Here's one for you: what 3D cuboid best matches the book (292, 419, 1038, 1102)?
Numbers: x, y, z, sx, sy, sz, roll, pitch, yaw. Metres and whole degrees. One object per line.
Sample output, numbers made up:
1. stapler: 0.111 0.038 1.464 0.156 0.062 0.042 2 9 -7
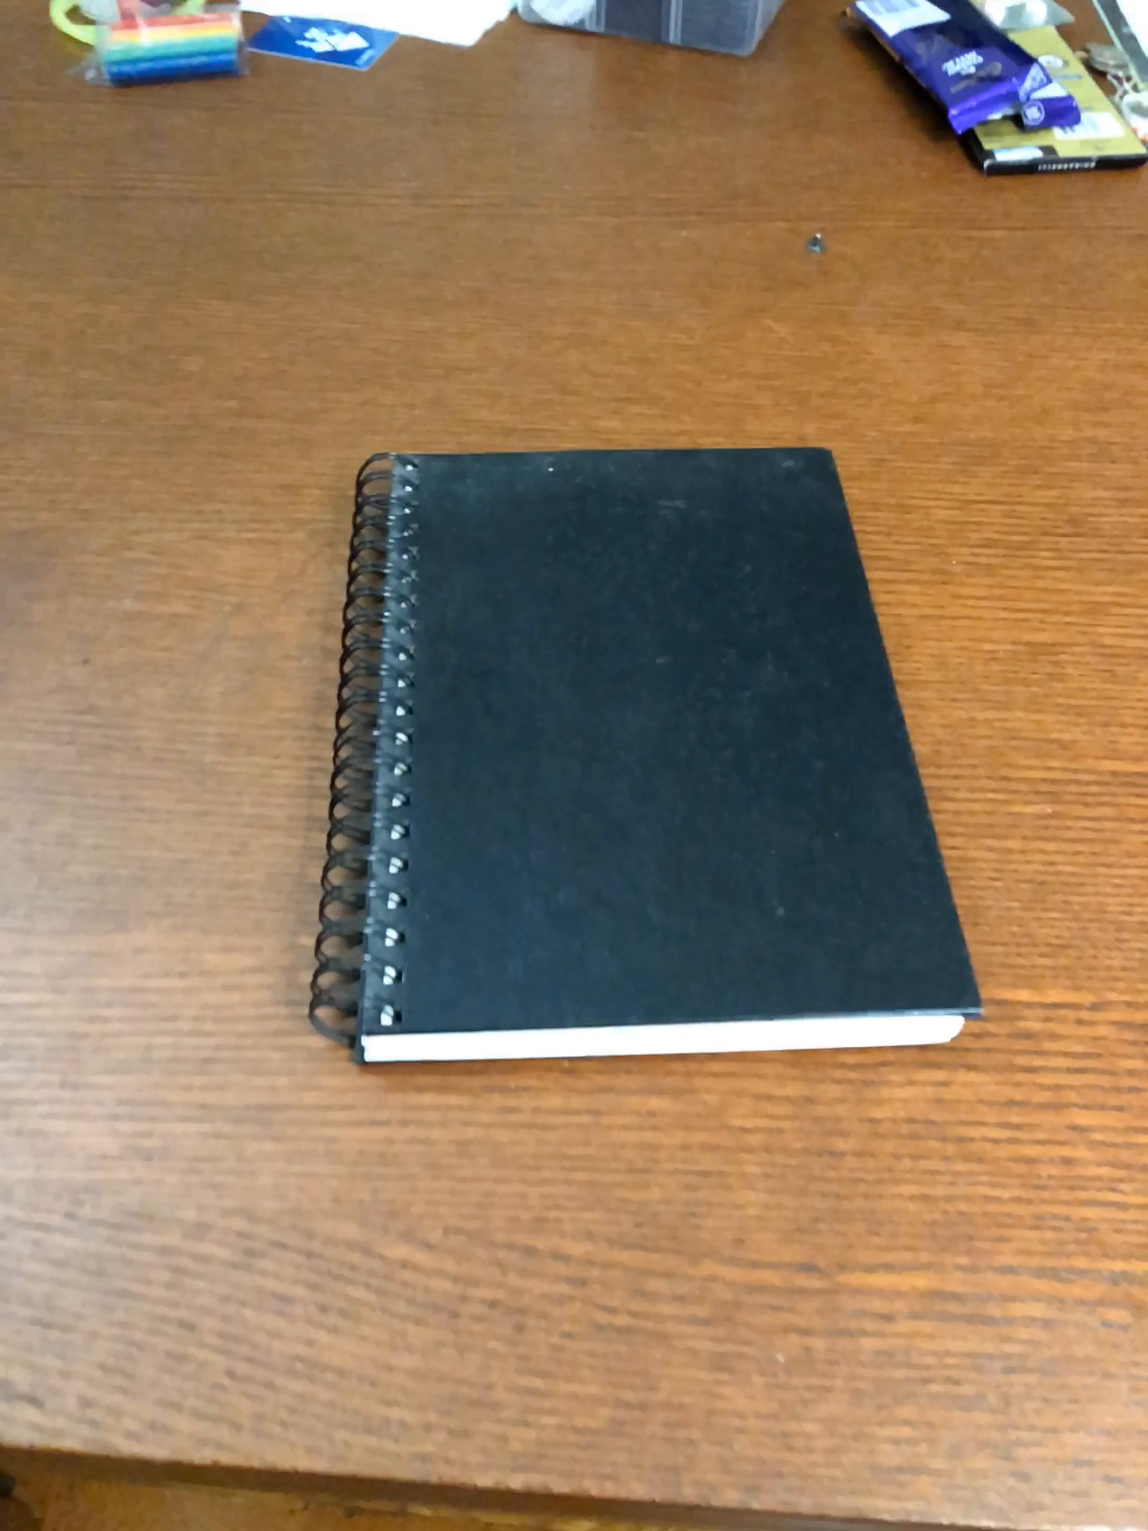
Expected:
1. book: 0.018 -0.022 0.428 0.200 0.030 0.261 -3 52 -2
